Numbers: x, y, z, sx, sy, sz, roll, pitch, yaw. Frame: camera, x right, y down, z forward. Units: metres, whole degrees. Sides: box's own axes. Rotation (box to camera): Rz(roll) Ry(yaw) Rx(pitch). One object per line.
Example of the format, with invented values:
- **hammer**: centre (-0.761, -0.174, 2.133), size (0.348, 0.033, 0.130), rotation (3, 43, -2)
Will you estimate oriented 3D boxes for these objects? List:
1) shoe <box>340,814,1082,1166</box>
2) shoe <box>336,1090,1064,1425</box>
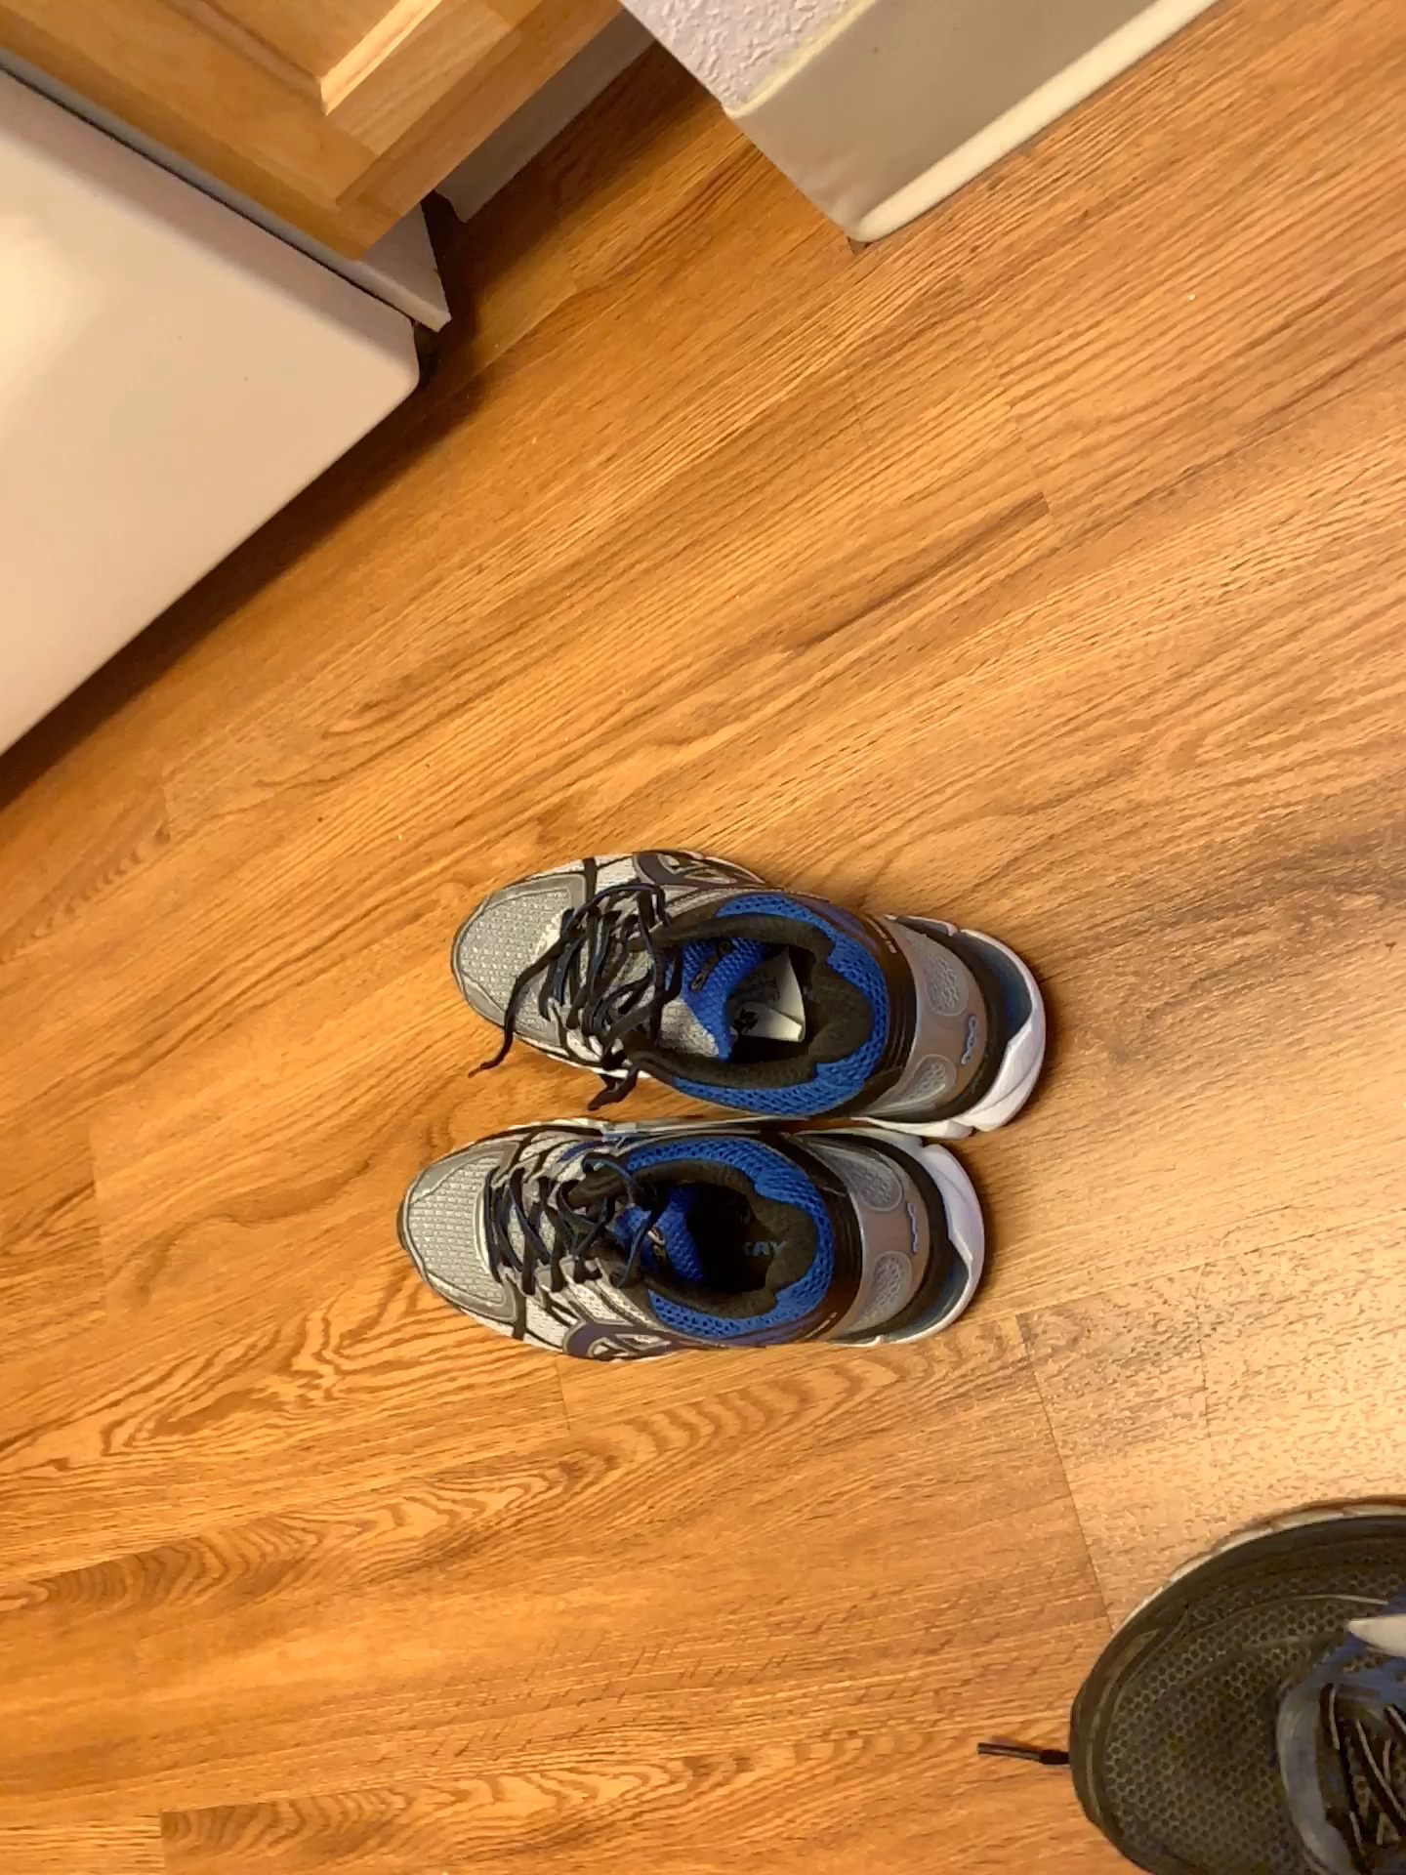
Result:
- **shoe**: centre (-0.005, 0.017, 0.609), size (0.282, 0.129, 0.110), rotation (6, 86, 38)
- **shoe**: centre (-0.011, 0.131, 0.621), size (0.292, 0.129, 0.110), rotation (-8, 78, 36)
